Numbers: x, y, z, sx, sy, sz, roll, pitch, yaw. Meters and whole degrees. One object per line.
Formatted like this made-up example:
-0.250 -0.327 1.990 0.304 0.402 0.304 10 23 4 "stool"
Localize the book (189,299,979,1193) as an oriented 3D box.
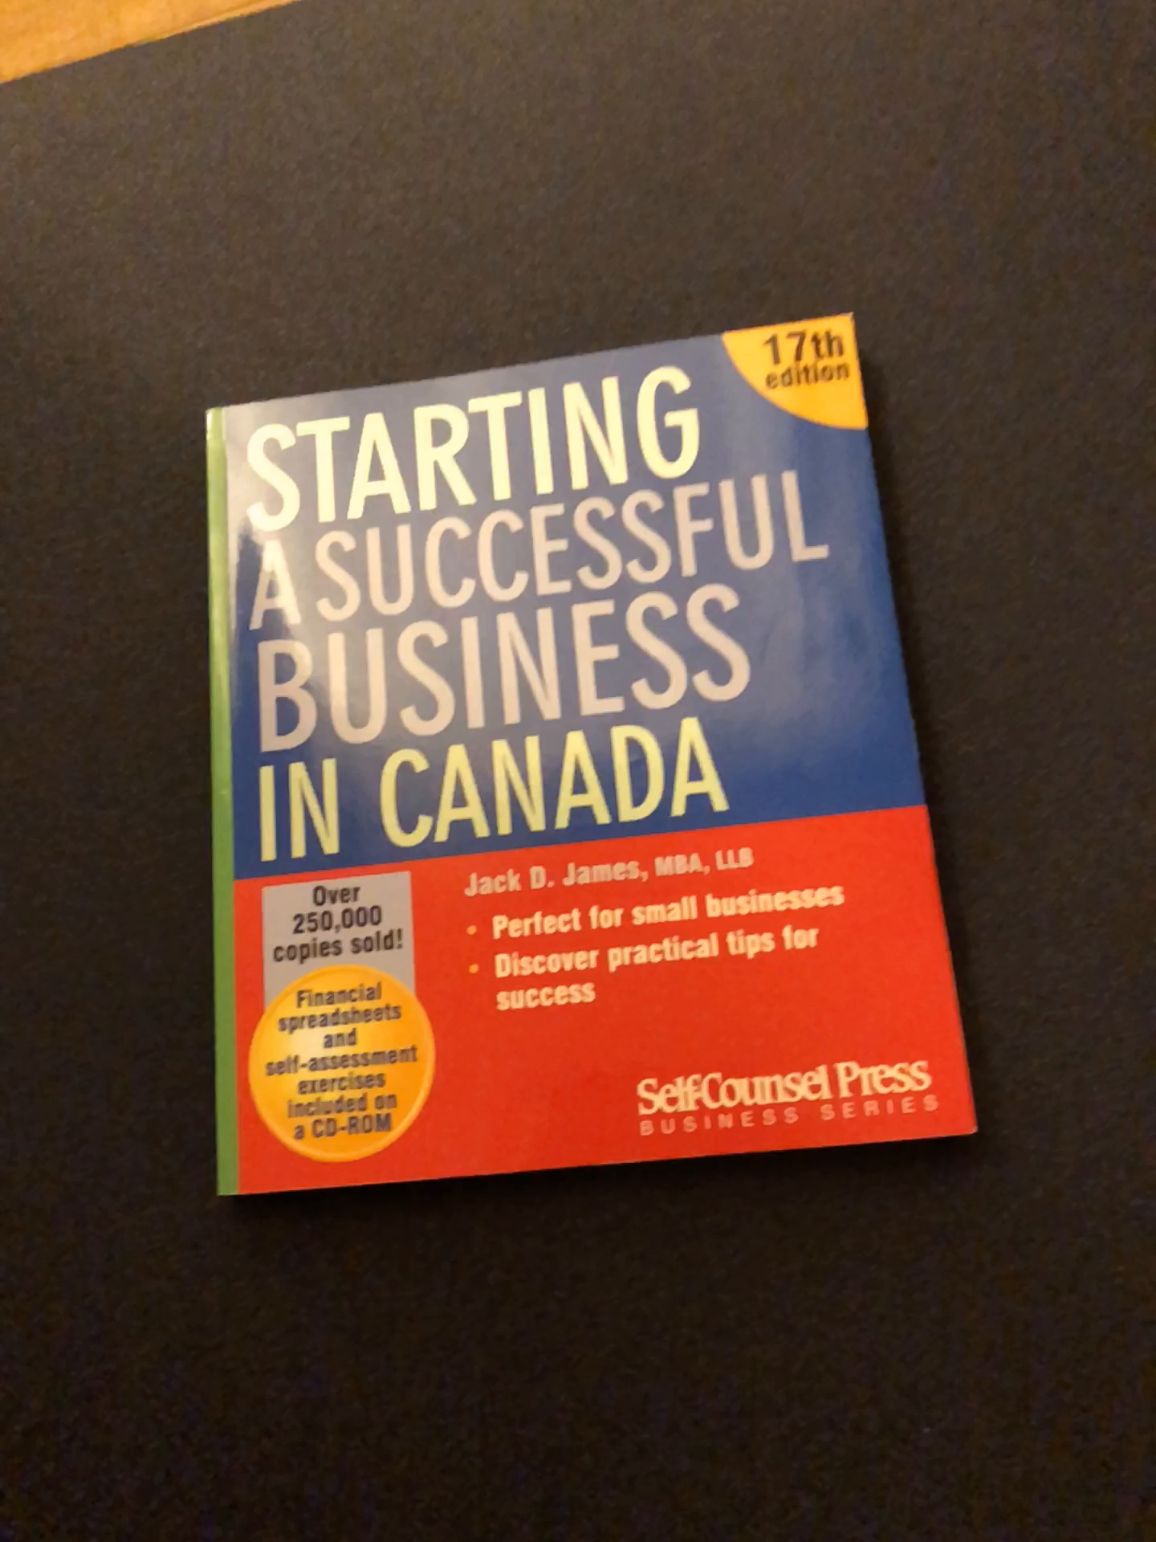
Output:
-0.008 -0.010 0.387 0.210 0.040 0.247 -6 75 6 "book"
